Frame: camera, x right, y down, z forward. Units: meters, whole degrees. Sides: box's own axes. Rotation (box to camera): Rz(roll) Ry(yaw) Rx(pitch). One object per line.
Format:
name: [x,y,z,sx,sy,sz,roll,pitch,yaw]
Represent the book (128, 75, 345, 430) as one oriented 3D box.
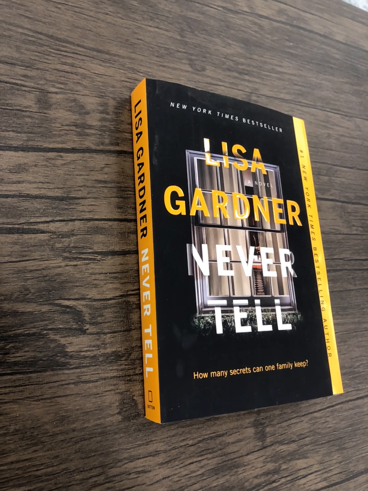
book: [0.035,0.001,0.282,0.137,0.032,0.207,4,75,-29]
